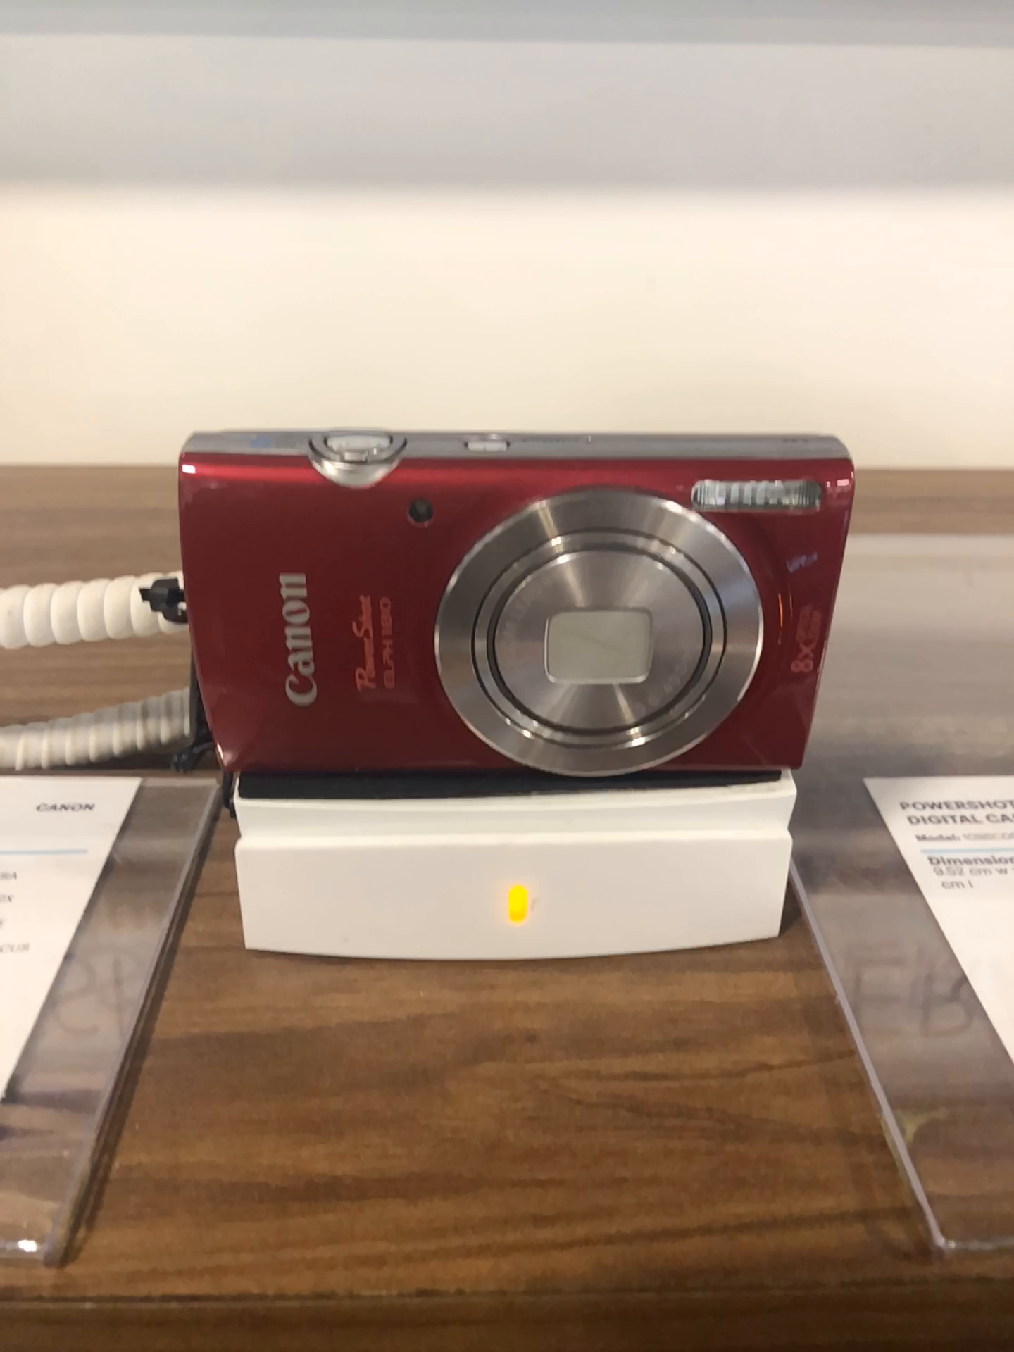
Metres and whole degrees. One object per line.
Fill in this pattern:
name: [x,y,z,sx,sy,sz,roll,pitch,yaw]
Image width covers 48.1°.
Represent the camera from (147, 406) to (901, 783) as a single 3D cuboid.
camera: [0.002,-0.011,0.170,0.097,0.051,0.023,0,35,-2]
